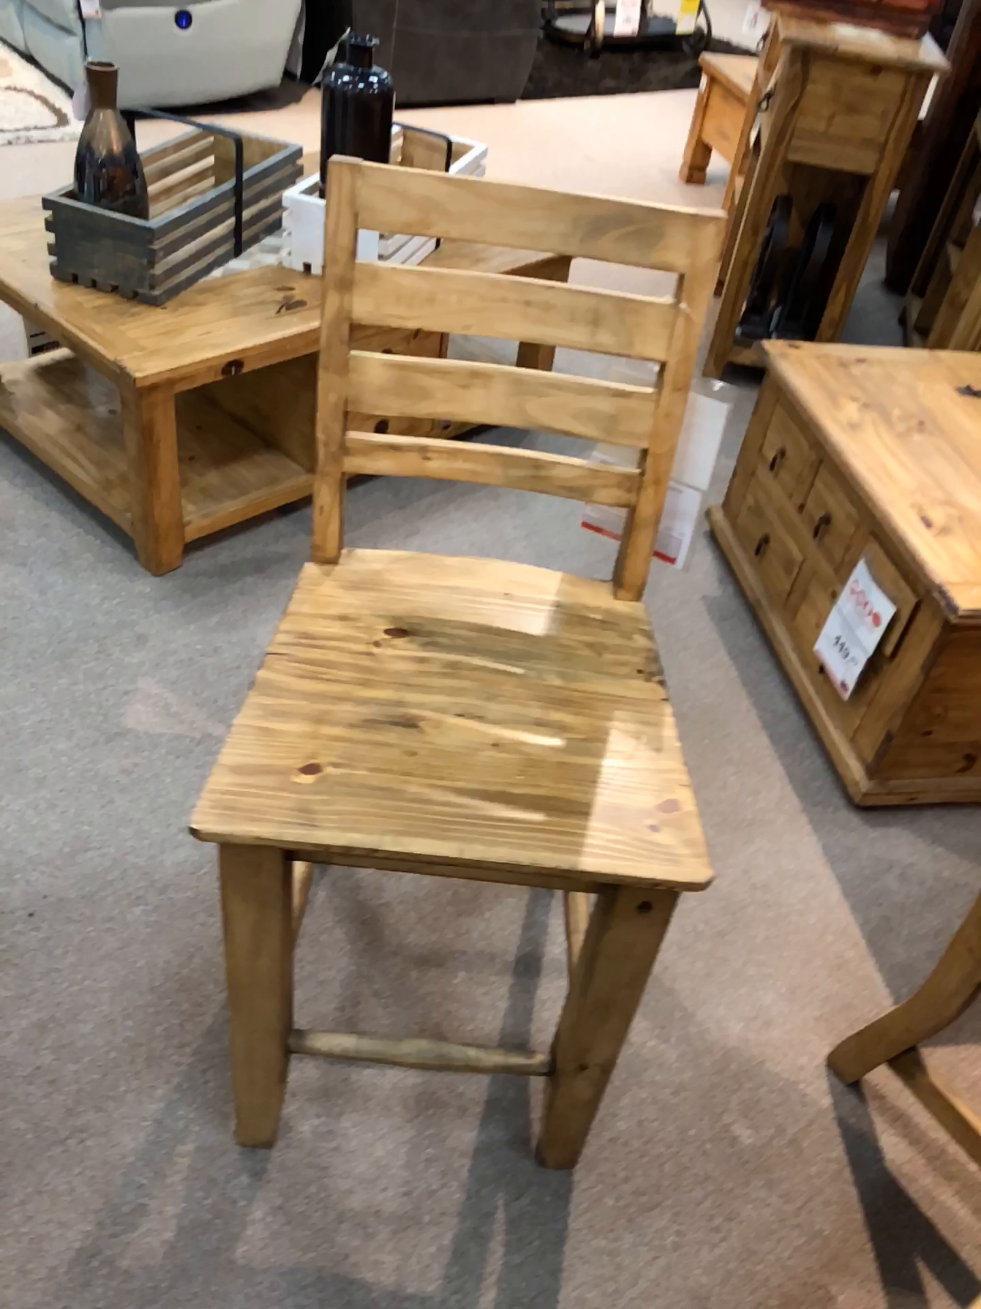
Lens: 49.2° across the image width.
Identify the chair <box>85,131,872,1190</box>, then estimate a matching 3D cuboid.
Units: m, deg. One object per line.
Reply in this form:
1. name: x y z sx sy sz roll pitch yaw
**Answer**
1. chair: -0.050 0.078 1.164 0.470 1.013 0.524 6 41 -3
